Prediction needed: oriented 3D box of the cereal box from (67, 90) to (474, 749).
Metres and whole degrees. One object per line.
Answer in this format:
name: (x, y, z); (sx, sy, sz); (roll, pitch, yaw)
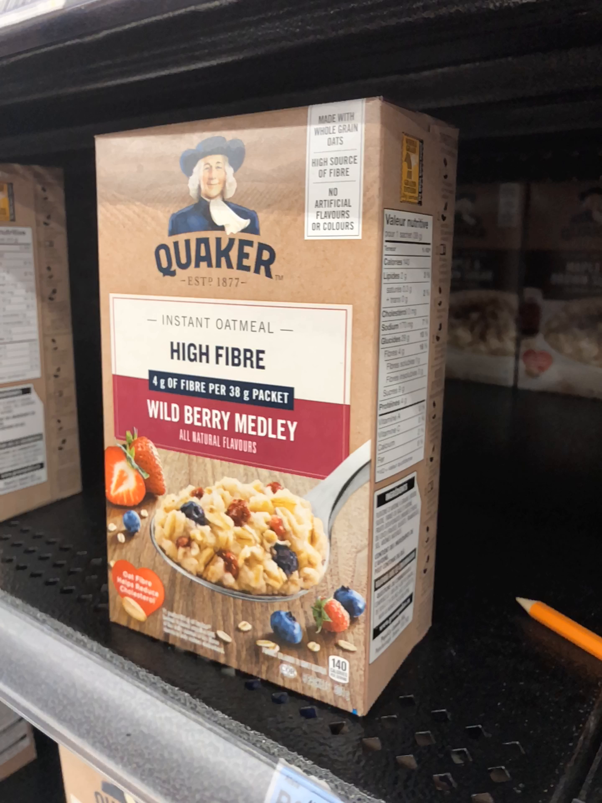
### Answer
cereal box: (-0.014, 0.001, 0.263); (0.130, 0.200, 0.070); (8, 13, 30)
